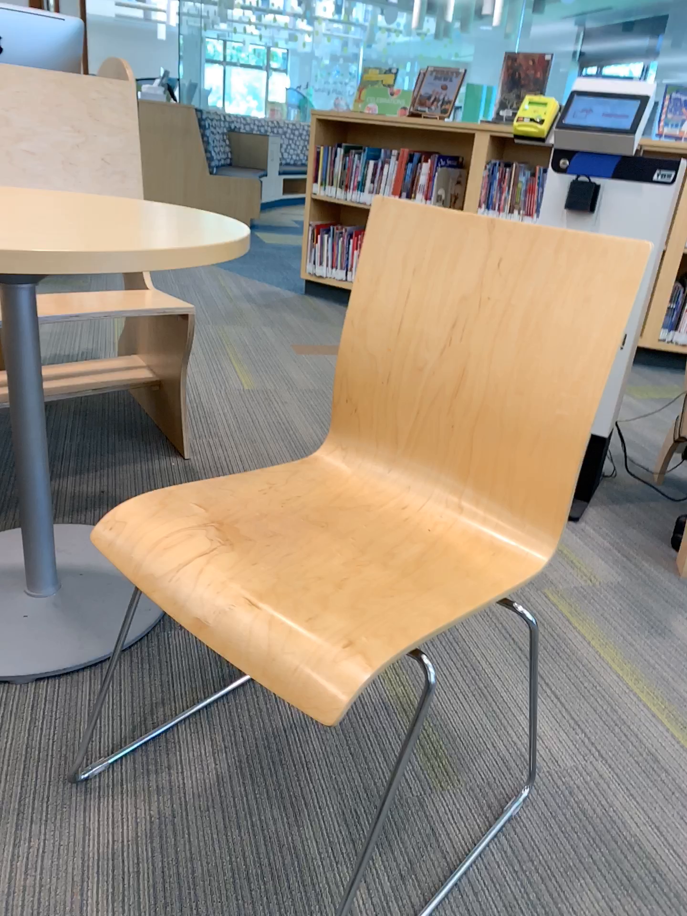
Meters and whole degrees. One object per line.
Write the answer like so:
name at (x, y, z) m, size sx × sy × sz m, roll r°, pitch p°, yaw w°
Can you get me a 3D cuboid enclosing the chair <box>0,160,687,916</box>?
chair at (0.012, 0.093, 0.913) m, size 0.561 × 0.806 × 0.621 m, roll 23°, pitch 29°, yaw 34°
